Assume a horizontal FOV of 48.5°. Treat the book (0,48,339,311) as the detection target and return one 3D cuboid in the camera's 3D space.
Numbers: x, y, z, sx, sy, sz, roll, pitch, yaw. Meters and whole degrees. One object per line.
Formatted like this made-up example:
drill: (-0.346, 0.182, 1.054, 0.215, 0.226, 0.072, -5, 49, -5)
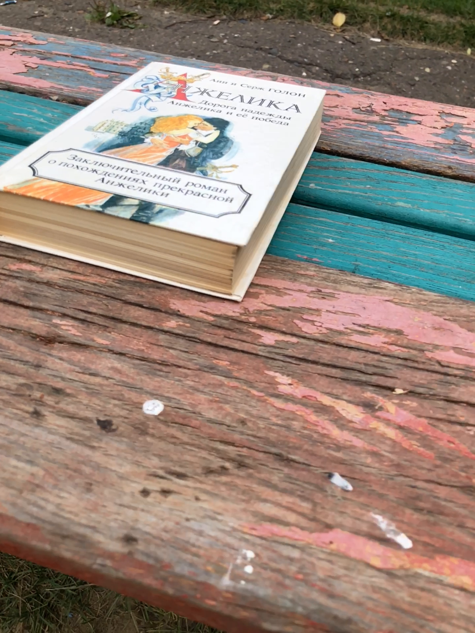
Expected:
book: (-0.033, -0.102, 0.318, 0.153, 0.032, 0.214, 15, 44, 9)
